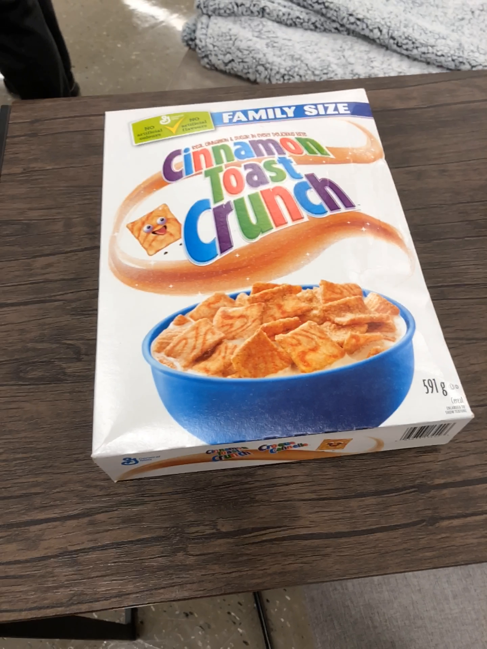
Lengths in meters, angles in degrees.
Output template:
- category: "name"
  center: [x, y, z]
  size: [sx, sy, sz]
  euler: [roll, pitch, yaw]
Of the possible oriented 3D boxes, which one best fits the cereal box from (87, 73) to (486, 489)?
- category: "cereal box"
  center: [0.011, -0.064, 0.458]
  size: [0.250, 0.070, 0.361]
  euler: [-5, 59, -3]
